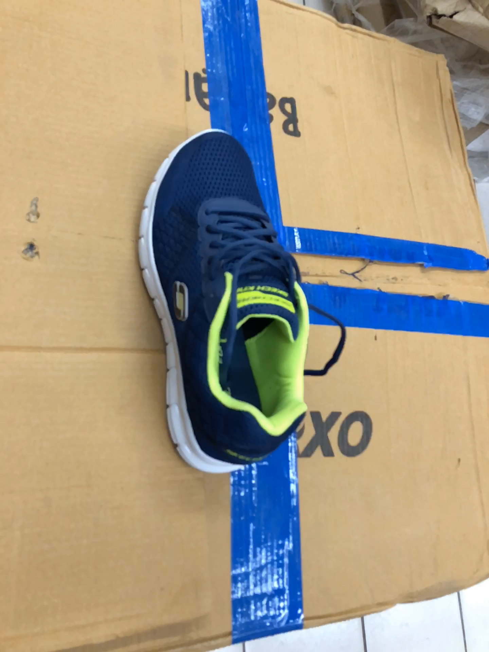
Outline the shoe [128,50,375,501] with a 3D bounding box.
[{"bbox_3d":[-0.008,-0.030,0.410,0.111,0.129,0.290,-2,78,-26],"label":"shoe"}]
